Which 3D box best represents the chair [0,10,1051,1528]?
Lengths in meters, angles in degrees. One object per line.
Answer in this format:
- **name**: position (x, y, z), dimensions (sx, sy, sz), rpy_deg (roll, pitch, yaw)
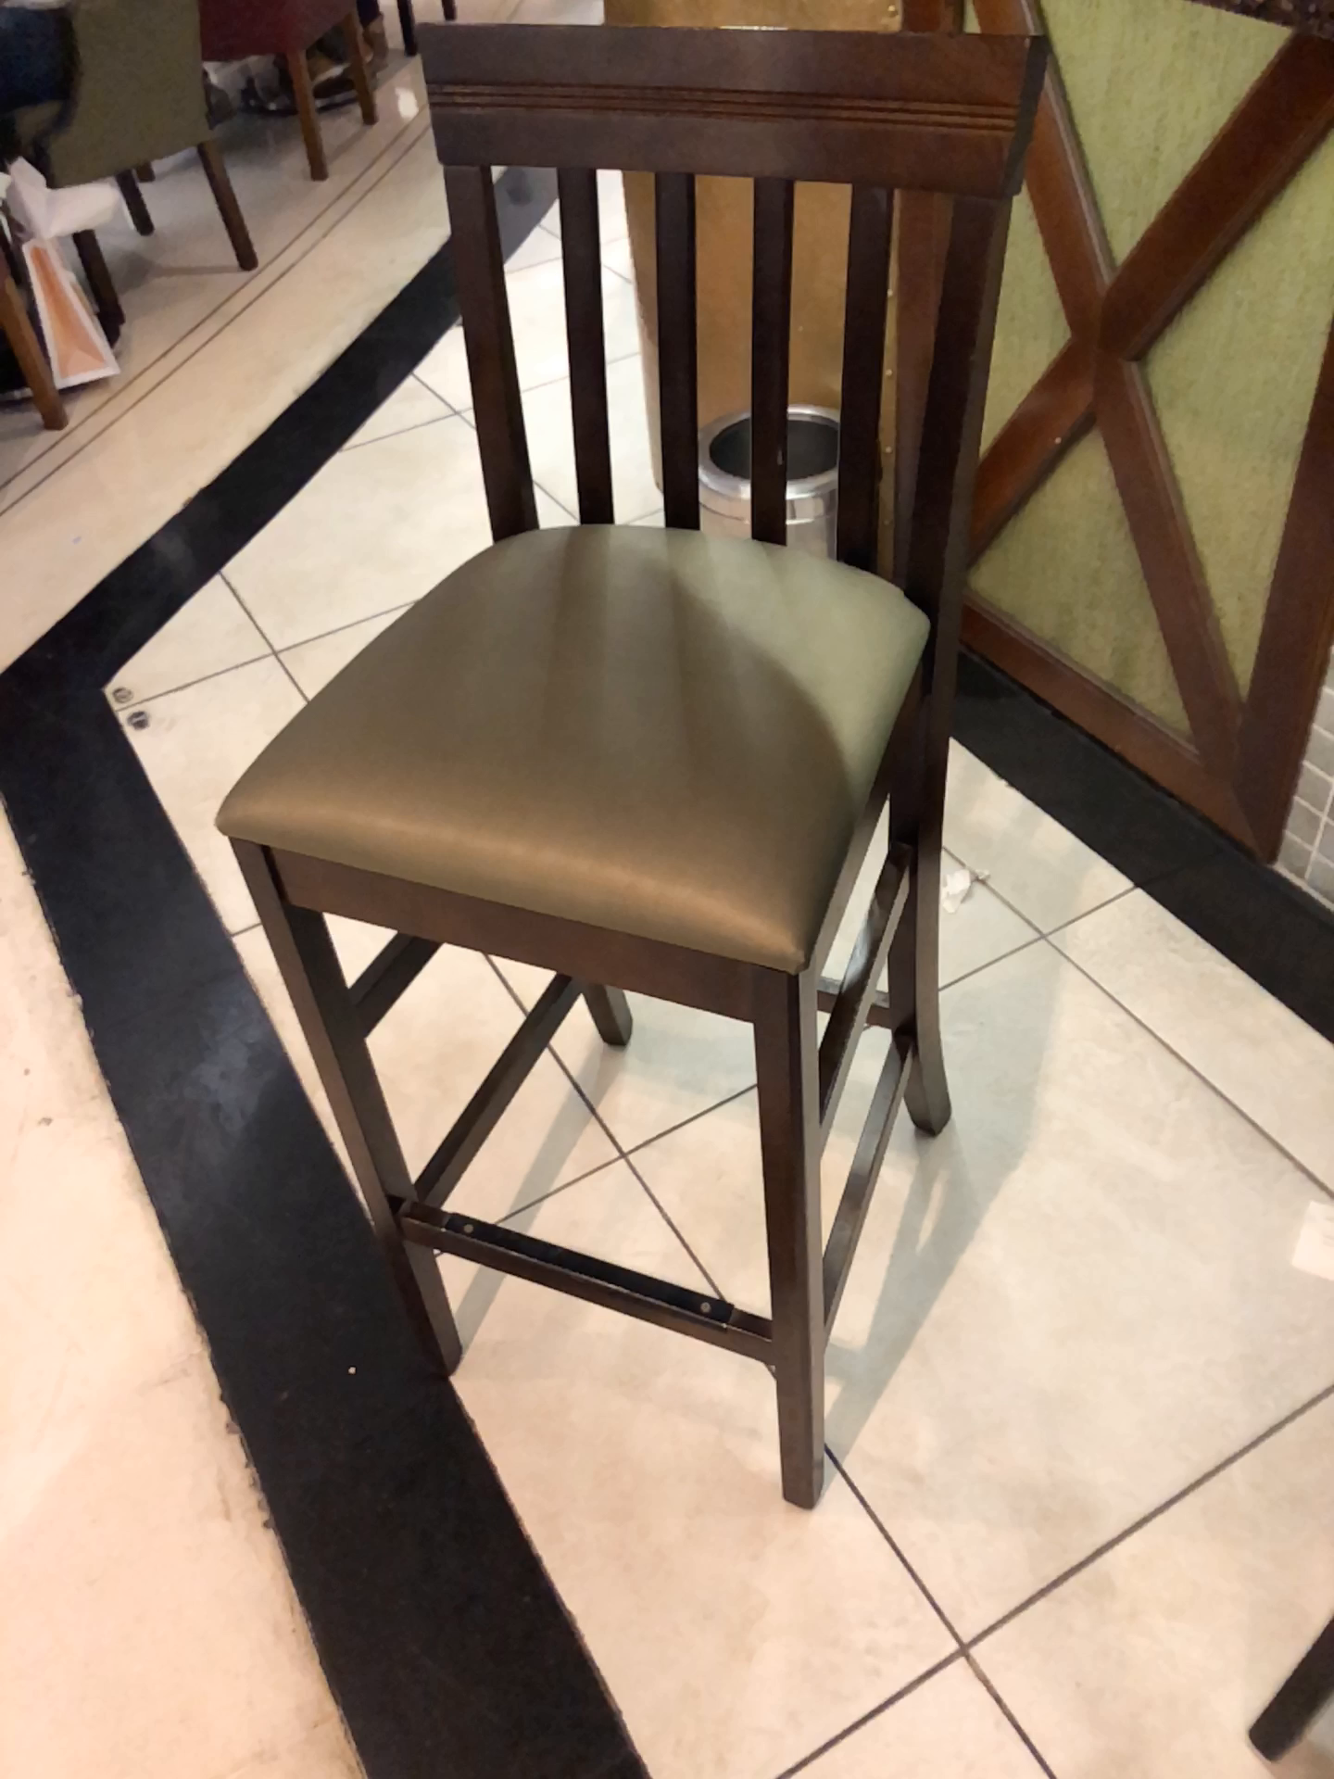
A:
- **chair**: position (-0.033, -0.033, 1.147), dimensions (0.461, 1.033, 0.493), rpy_deg (13, 47, 19)
